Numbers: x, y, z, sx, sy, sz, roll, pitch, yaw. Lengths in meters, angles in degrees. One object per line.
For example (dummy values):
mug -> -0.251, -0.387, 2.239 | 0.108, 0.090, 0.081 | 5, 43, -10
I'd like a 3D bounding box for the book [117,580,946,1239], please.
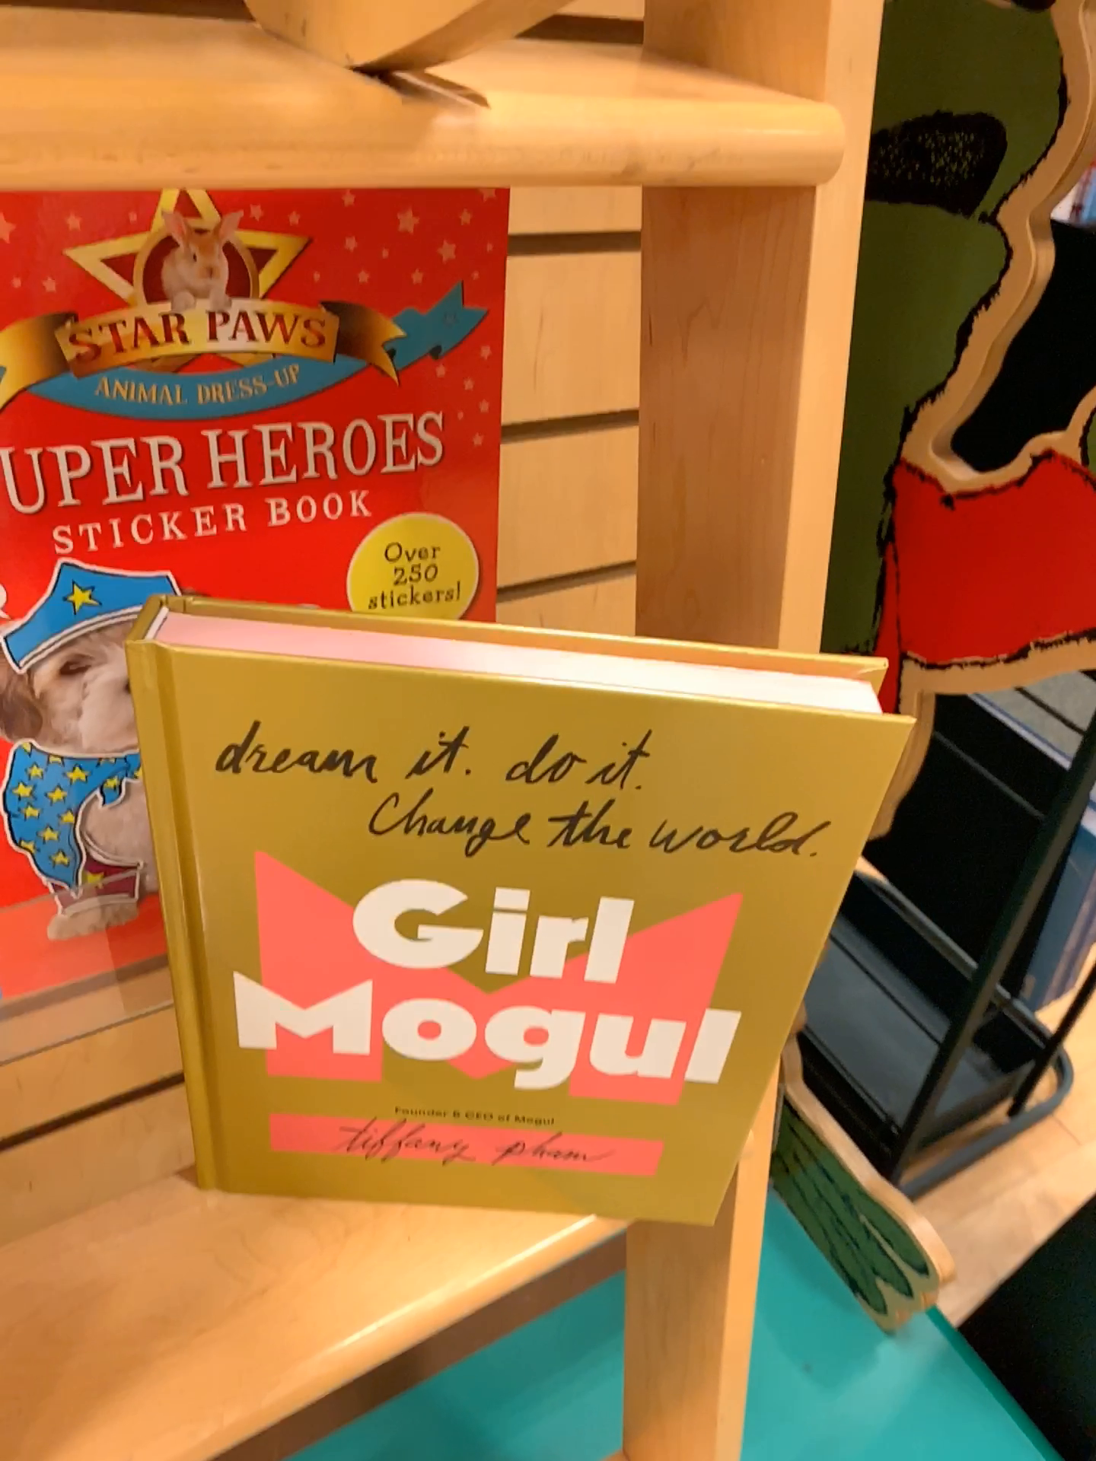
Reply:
book -> -0.014, 0.069, 0.323 | 0.180, 0.219, 0.030 | 5, 37, -5
